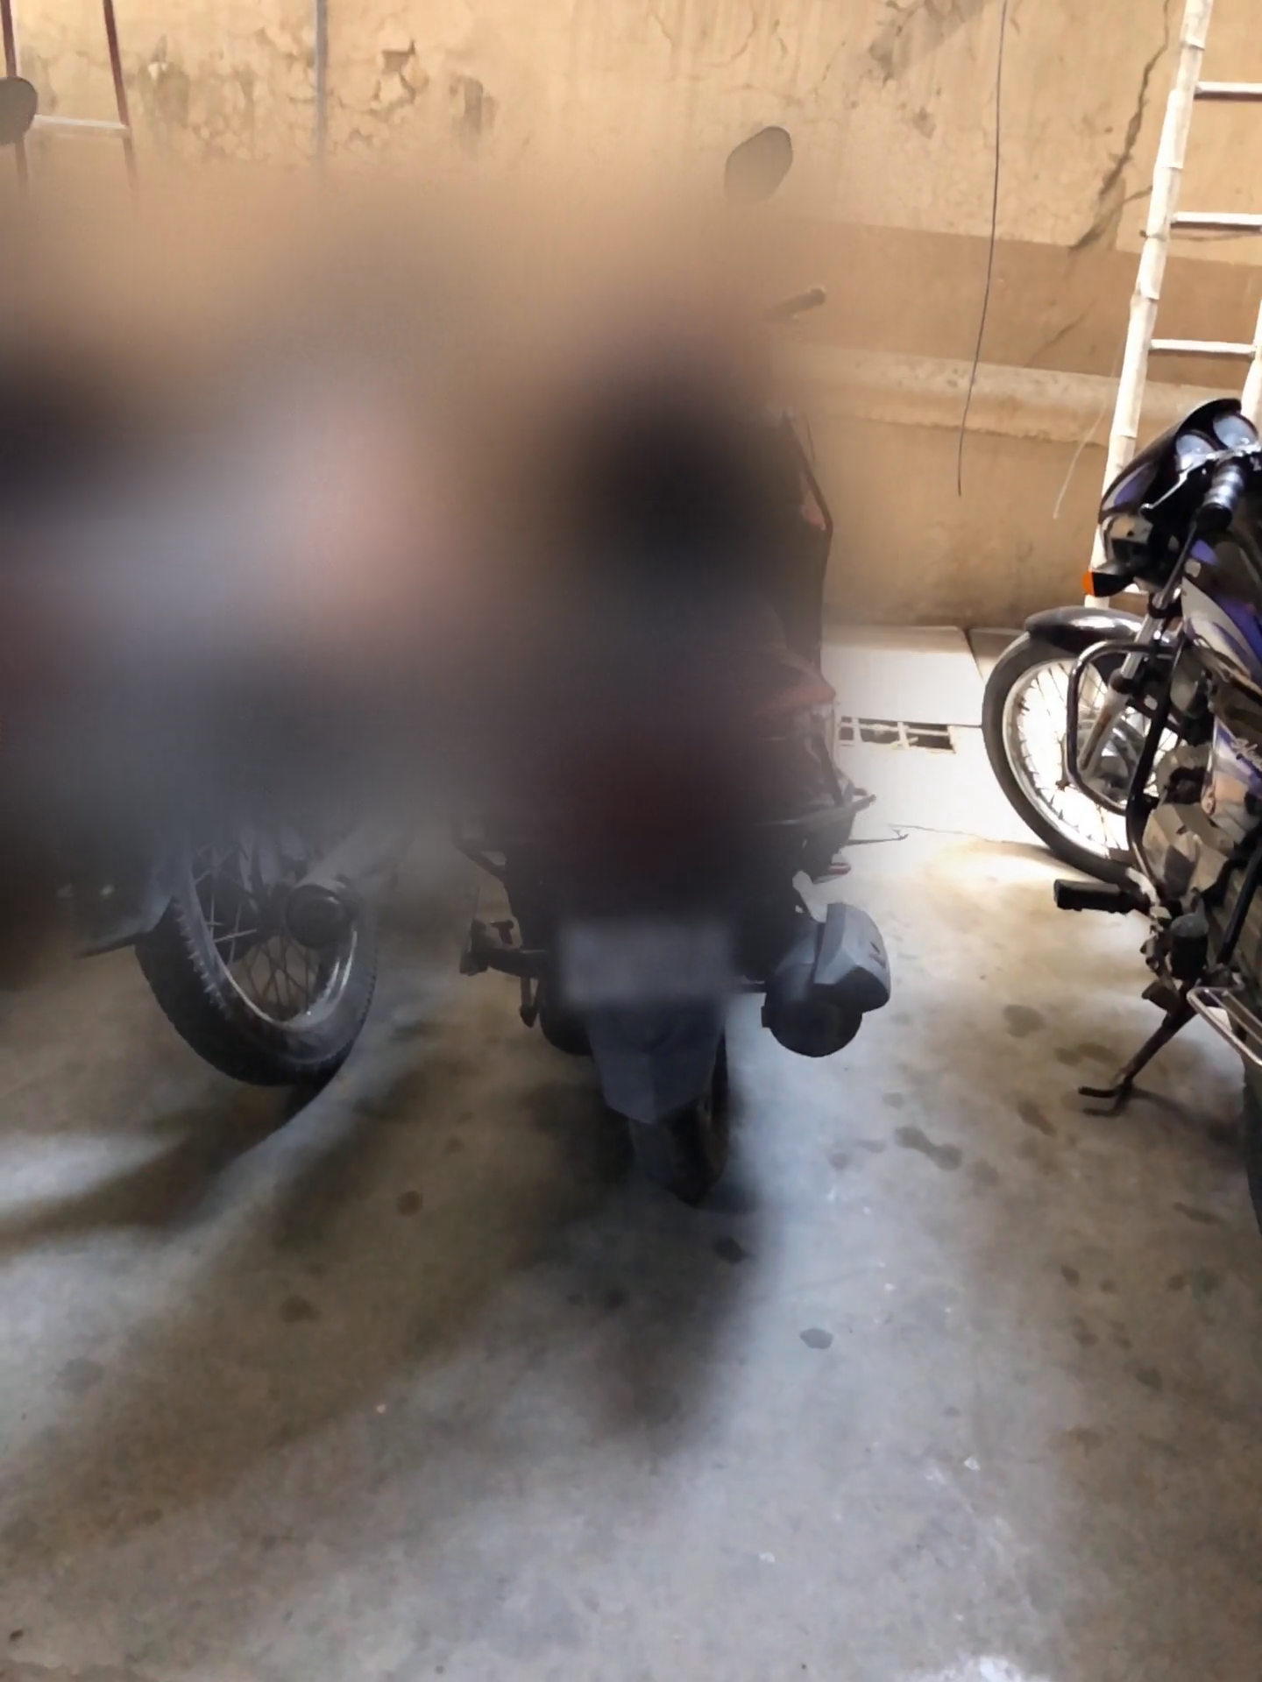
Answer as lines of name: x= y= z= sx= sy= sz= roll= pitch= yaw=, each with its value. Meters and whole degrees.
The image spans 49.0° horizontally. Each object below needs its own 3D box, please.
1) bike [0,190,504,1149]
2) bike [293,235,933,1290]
bike: x=-0.759 y=-0.468 z=2.389 sx=0.838 sy=1.089 sz=1.658 roll=6 pitch=25 yaw=0
bike: x=-0.044 y=-0.282 z=2.241 sx=0.630 sy=1.140 sz=1.446 roll=6 pitch=27 yaw=0
